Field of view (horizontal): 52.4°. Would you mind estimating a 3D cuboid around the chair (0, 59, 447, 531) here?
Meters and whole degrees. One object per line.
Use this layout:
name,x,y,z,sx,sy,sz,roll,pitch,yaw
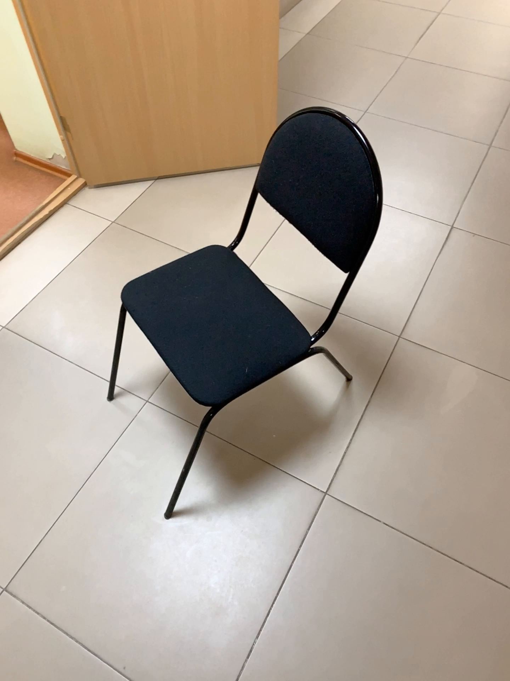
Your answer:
chair,-0.086,-0.071,1.215,0.691,0.774,0.483,-28,58,-19
